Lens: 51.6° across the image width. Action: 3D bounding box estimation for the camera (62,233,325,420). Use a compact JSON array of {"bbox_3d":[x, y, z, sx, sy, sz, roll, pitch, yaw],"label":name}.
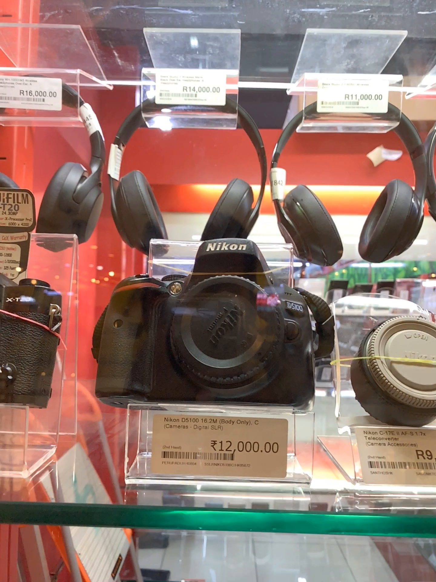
[{"bbox_3d":[-0.011,0.019,0.263,0.130,0.090,0.070,2,-3,2],"label":"camera"}]
